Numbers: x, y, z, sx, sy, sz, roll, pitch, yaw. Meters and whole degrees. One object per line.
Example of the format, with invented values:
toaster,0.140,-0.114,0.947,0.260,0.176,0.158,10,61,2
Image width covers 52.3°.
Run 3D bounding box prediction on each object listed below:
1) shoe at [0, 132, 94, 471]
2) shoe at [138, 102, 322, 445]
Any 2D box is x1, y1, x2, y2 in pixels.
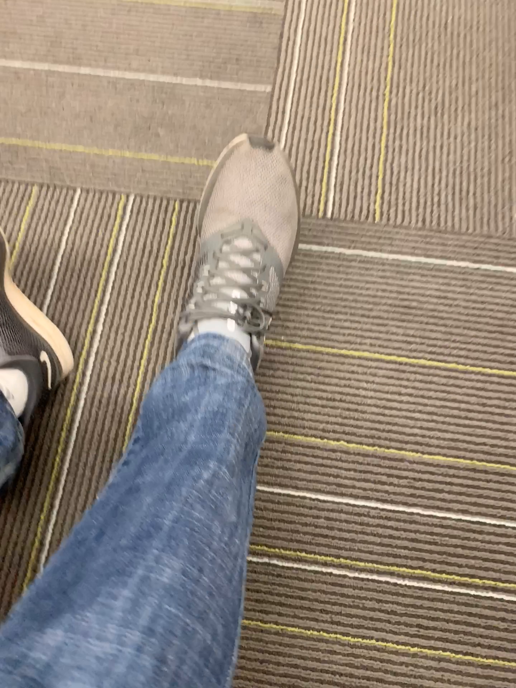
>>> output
shoe,-0.288,-0.025,0.512,0.119,0.293,0.122,-12,38,6
shoe,-0.030,-0.067,0.528,0.119,0.122,0.294,11,110,0
